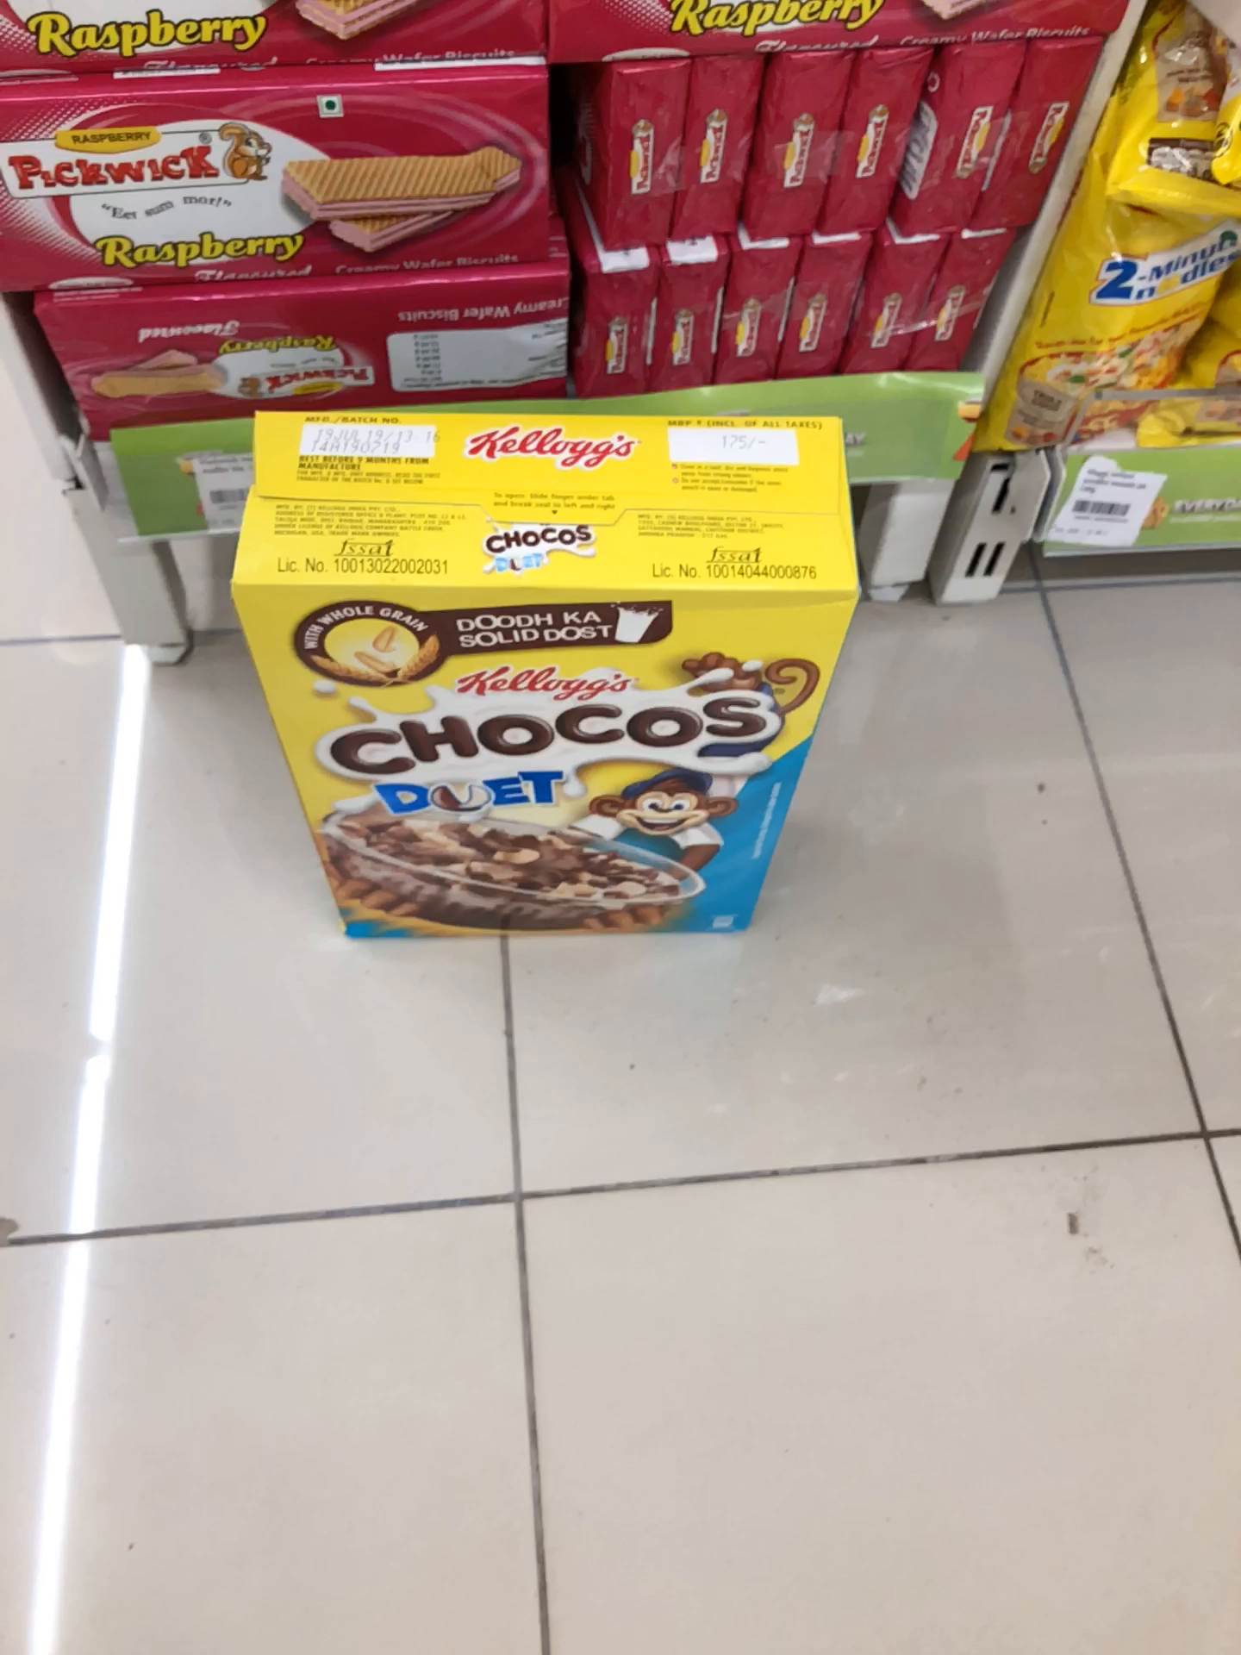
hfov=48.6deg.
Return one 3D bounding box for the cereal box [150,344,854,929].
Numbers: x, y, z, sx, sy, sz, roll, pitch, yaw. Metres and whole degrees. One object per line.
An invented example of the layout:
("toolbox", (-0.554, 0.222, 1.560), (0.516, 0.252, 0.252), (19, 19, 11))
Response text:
("cereal box", (-0.038, -0.050, 0.503), (0.190, 0.259, 0.070), (-1, 62, -3))
